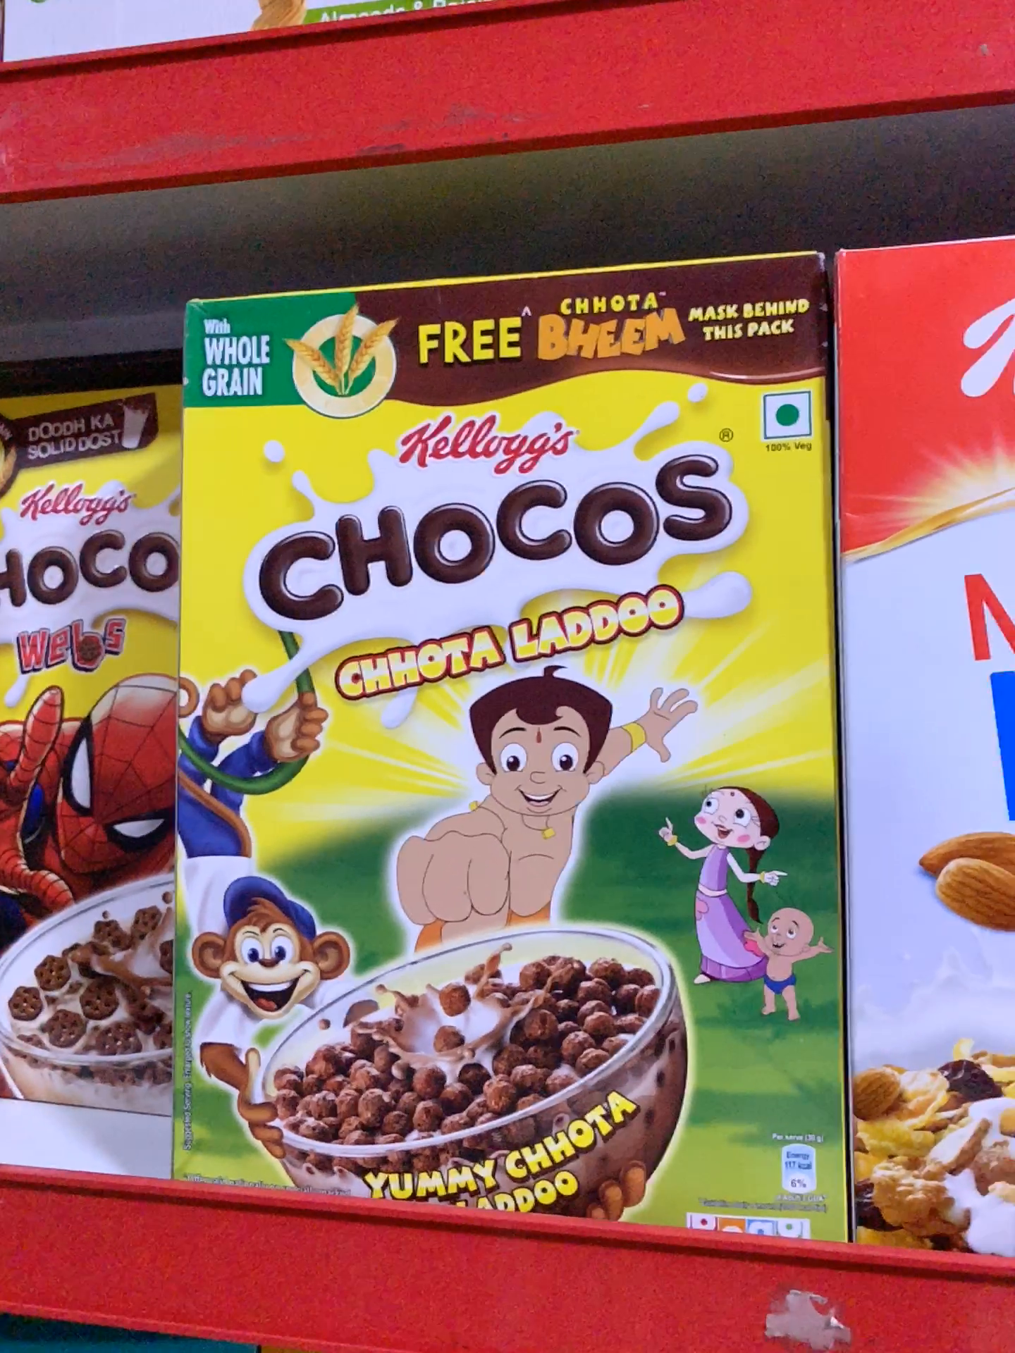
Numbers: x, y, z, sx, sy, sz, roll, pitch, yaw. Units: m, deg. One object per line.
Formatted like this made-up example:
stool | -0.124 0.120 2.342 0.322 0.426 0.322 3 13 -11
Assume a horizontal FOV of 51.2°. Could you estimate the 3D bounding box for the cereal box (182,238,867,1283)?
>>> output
cereal box | 0.005 0.019 0.316 0.180 0.260 0.070 -1 -3 11
